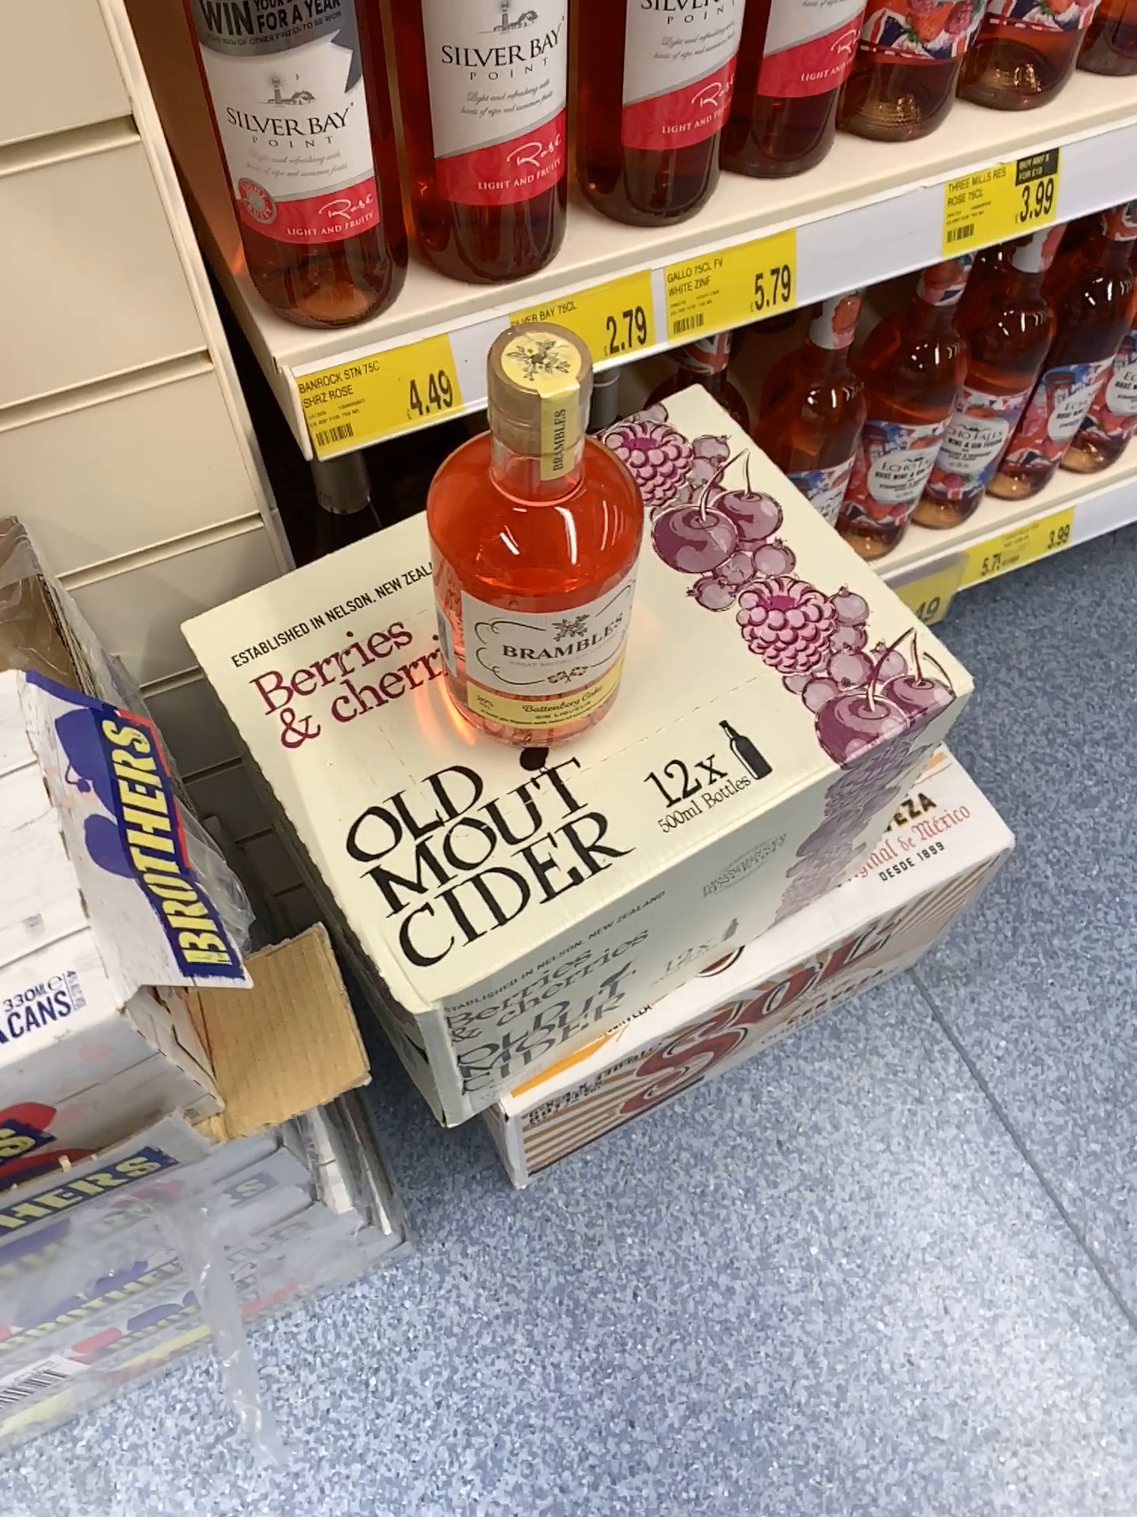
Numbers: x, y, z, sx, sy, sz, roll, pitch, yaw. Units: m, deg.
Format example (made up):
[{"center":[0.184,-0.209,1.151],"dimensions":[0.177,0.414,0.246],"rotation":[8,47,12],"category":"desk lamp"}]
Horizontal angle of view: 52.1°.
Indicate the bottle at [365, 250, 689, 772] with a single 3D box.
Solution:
[{"center":[-0.015,-0.080,0.432],"dimensions":[0.077,0.176,0.076],"rotation":[0,61,-1],"category":"bottle"}]
